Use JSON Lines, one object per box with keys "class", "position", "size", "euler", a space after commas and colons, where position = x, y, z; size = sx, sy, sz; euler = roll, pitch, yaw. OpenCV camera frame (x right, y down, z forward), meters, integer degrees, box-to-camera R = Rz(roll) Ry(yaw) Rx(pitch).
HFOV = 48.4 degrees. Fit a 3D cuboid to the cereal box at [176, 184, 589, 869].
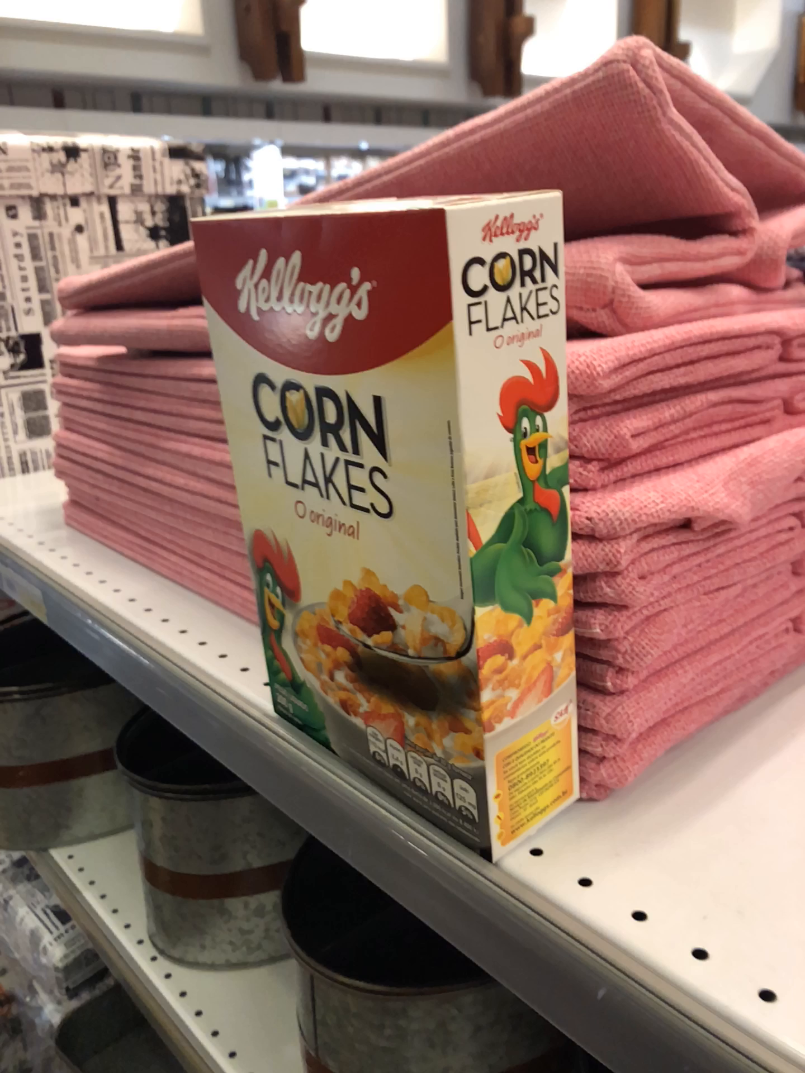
{"class": "cereal box", "position": [-0.010, -0.013, 0.404], "size": [0.060, 0.258, 0.181], "euler": [-22, 26, -35]}
